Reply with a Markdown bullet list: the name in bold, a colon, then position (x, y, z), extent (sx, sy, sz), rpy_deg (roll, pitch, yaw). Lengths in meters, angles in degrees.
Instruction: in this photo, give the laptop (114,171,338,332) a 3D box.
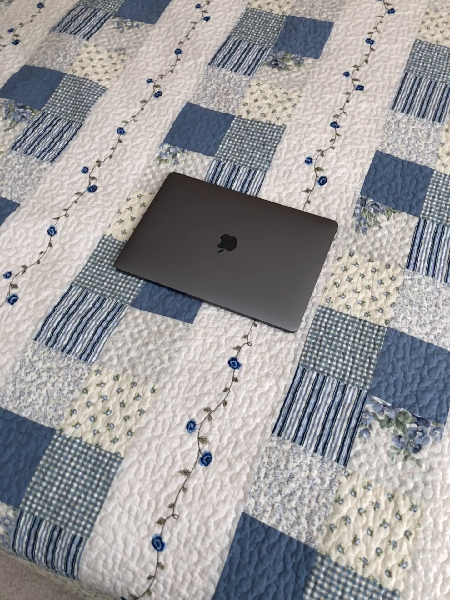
- **laptop**: position (0.005, -0.087, 0.766), extent (0.290, 0.005, 0.202), rpy_deg (20, 63, 12)
